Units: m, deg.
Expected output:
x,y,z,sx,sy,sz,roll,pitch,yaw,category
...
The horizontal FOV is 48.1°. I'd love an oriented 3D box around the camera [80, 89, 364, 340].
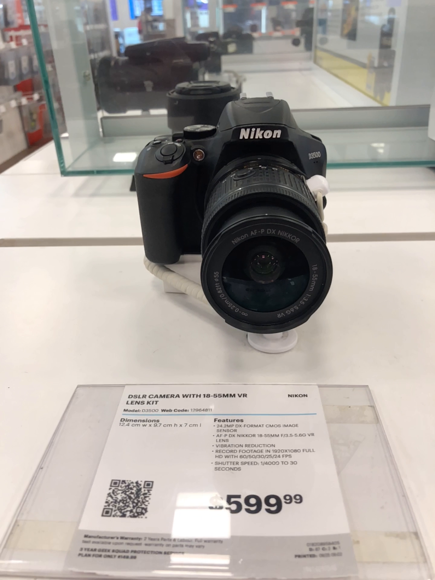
x,y,z,sx,sy,sz,roll,pitch,yaw,category
0.009,-0.059,0.303,0.120,0.100,0.171,0,28,5,camera
